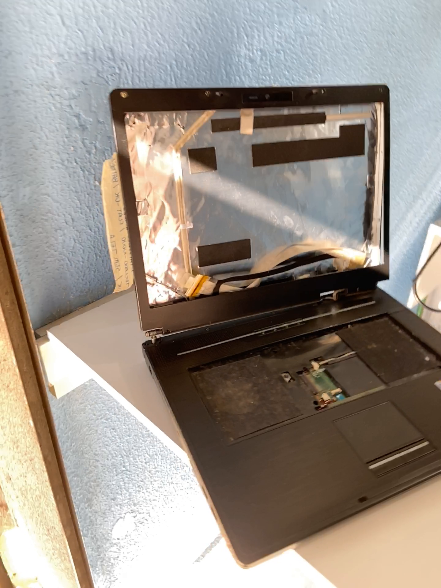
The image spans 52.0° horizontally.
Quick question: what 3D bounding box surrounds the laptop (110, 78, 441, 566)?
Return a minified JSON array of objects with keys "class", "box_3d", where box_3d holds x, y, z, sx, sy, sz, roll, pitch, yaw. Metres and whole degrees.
[{"class":"laptop","box_3d":[0.112,-0.040,0.461,0.353,0.261,0.351,-12,35,-20]}]
